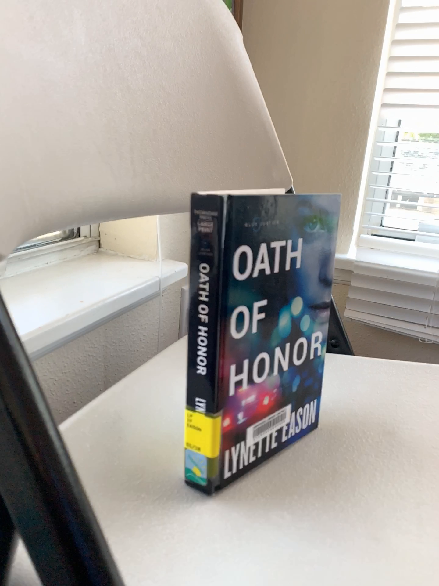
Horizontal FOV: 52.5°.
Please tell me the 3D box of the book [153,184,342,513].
[{"bbox_3d":[0.028,0.025,0.357,0.063,0.217,0.155,12,18,37],"label":"book"}]
